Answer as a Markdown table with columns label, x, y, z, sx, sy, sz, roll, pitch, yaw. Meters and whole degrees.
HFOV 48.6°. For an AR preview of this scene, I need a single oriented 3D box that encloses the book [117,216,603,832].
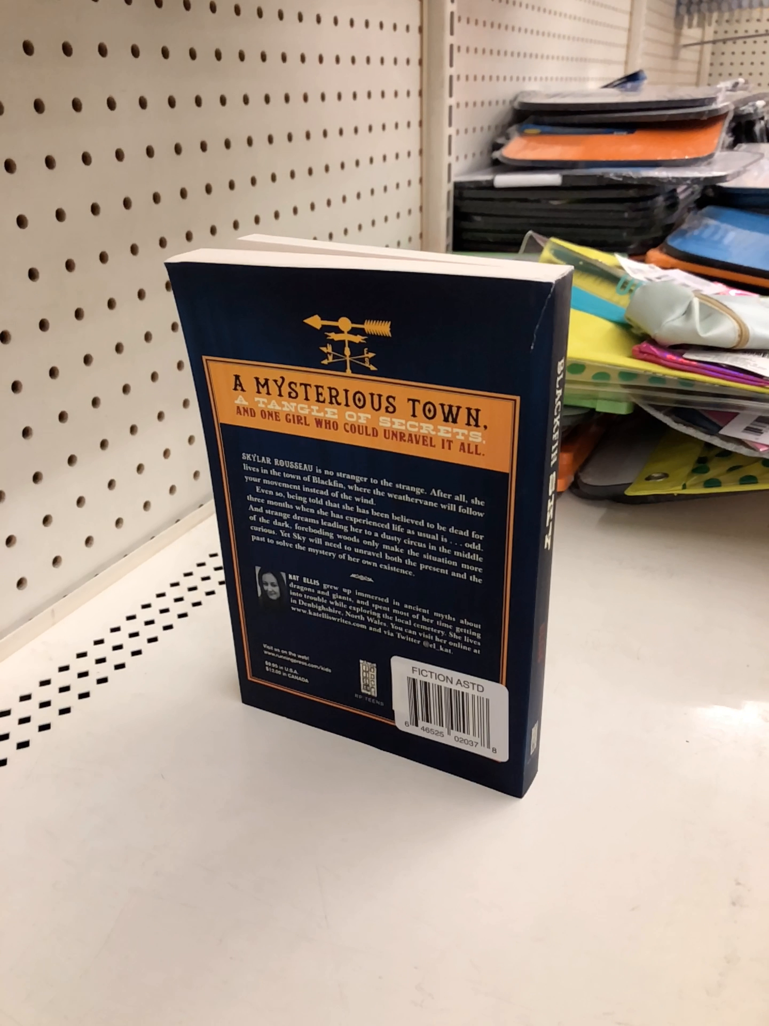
| label | x | y | z | sx | sy | sz | roll | pitch | yaw |
| --- | --- | --- | --- | --- | --- | --- | --- | --- | --- |
| book | -0.009 | 0.002 | 0.328 | 0.150 | 0.205 | 0.059 | 13 | 32 | 25 |
